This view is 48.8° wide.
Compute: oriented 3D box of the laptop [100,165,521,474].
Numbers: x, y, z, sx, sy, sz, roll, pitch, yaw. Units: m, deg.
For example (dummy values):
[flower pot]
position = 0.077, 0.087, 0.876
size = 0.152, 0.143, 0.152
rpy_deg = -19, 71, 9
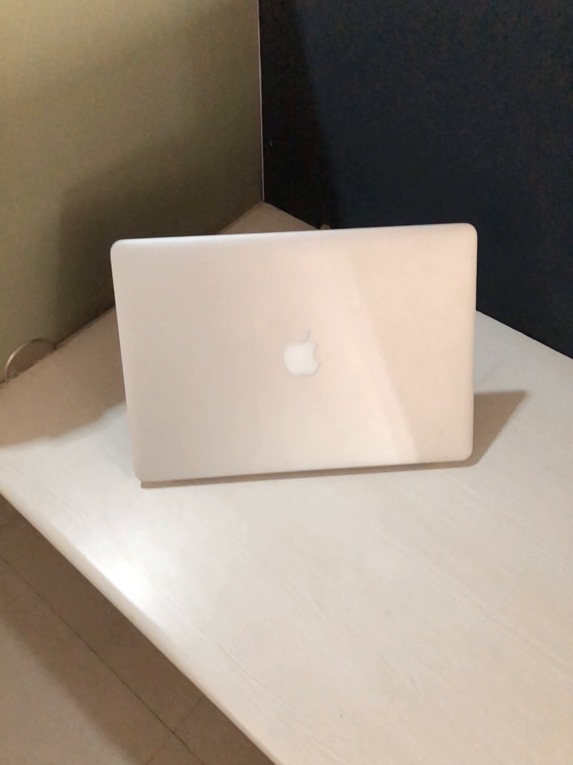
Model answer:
[laptop]
position = 0.013, -0.068, 0.661
size = 0.343, 0.198, 0.236
rpy_deg = -3, 51, -3
